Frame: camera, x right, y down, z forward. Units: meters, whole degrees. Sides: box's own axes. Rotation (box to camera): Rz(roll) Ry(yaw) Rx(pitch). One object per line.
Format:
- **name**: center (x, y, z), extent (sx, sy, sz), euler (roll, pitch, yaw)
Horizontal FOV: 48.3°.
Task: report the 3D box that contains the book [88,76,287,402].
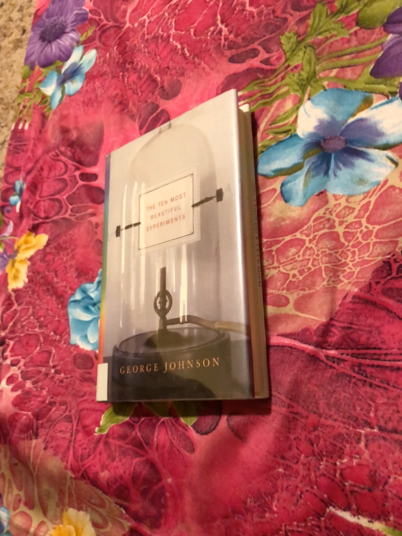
- **book**: center (-0.017, -0.012, 0.314), extent (0.141, 0.030, 0.200), euler (-14, 68, 37)
